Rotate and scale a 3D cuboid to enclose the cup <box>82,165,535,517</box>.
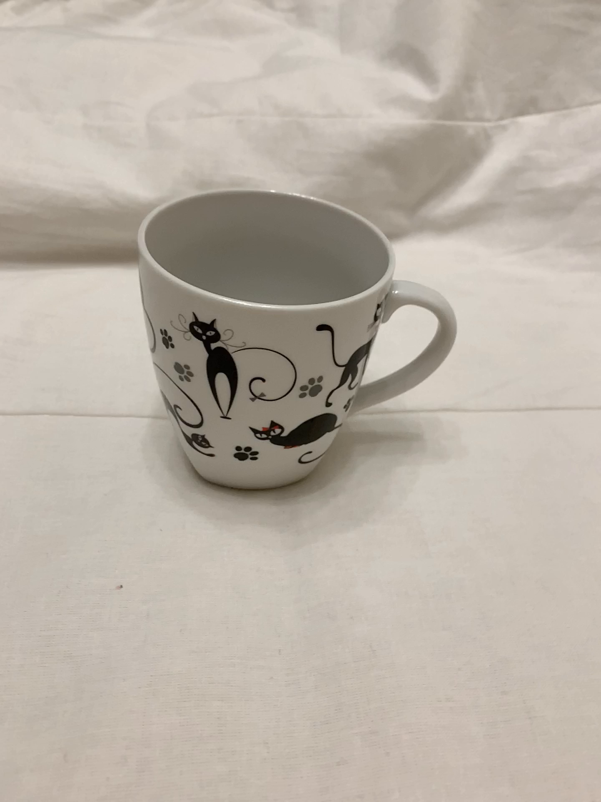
[{"bbox_3d":[0.002,-0.022,0.219,0.118,0.077,0.081,6,42,0],"label":"cup"}]
